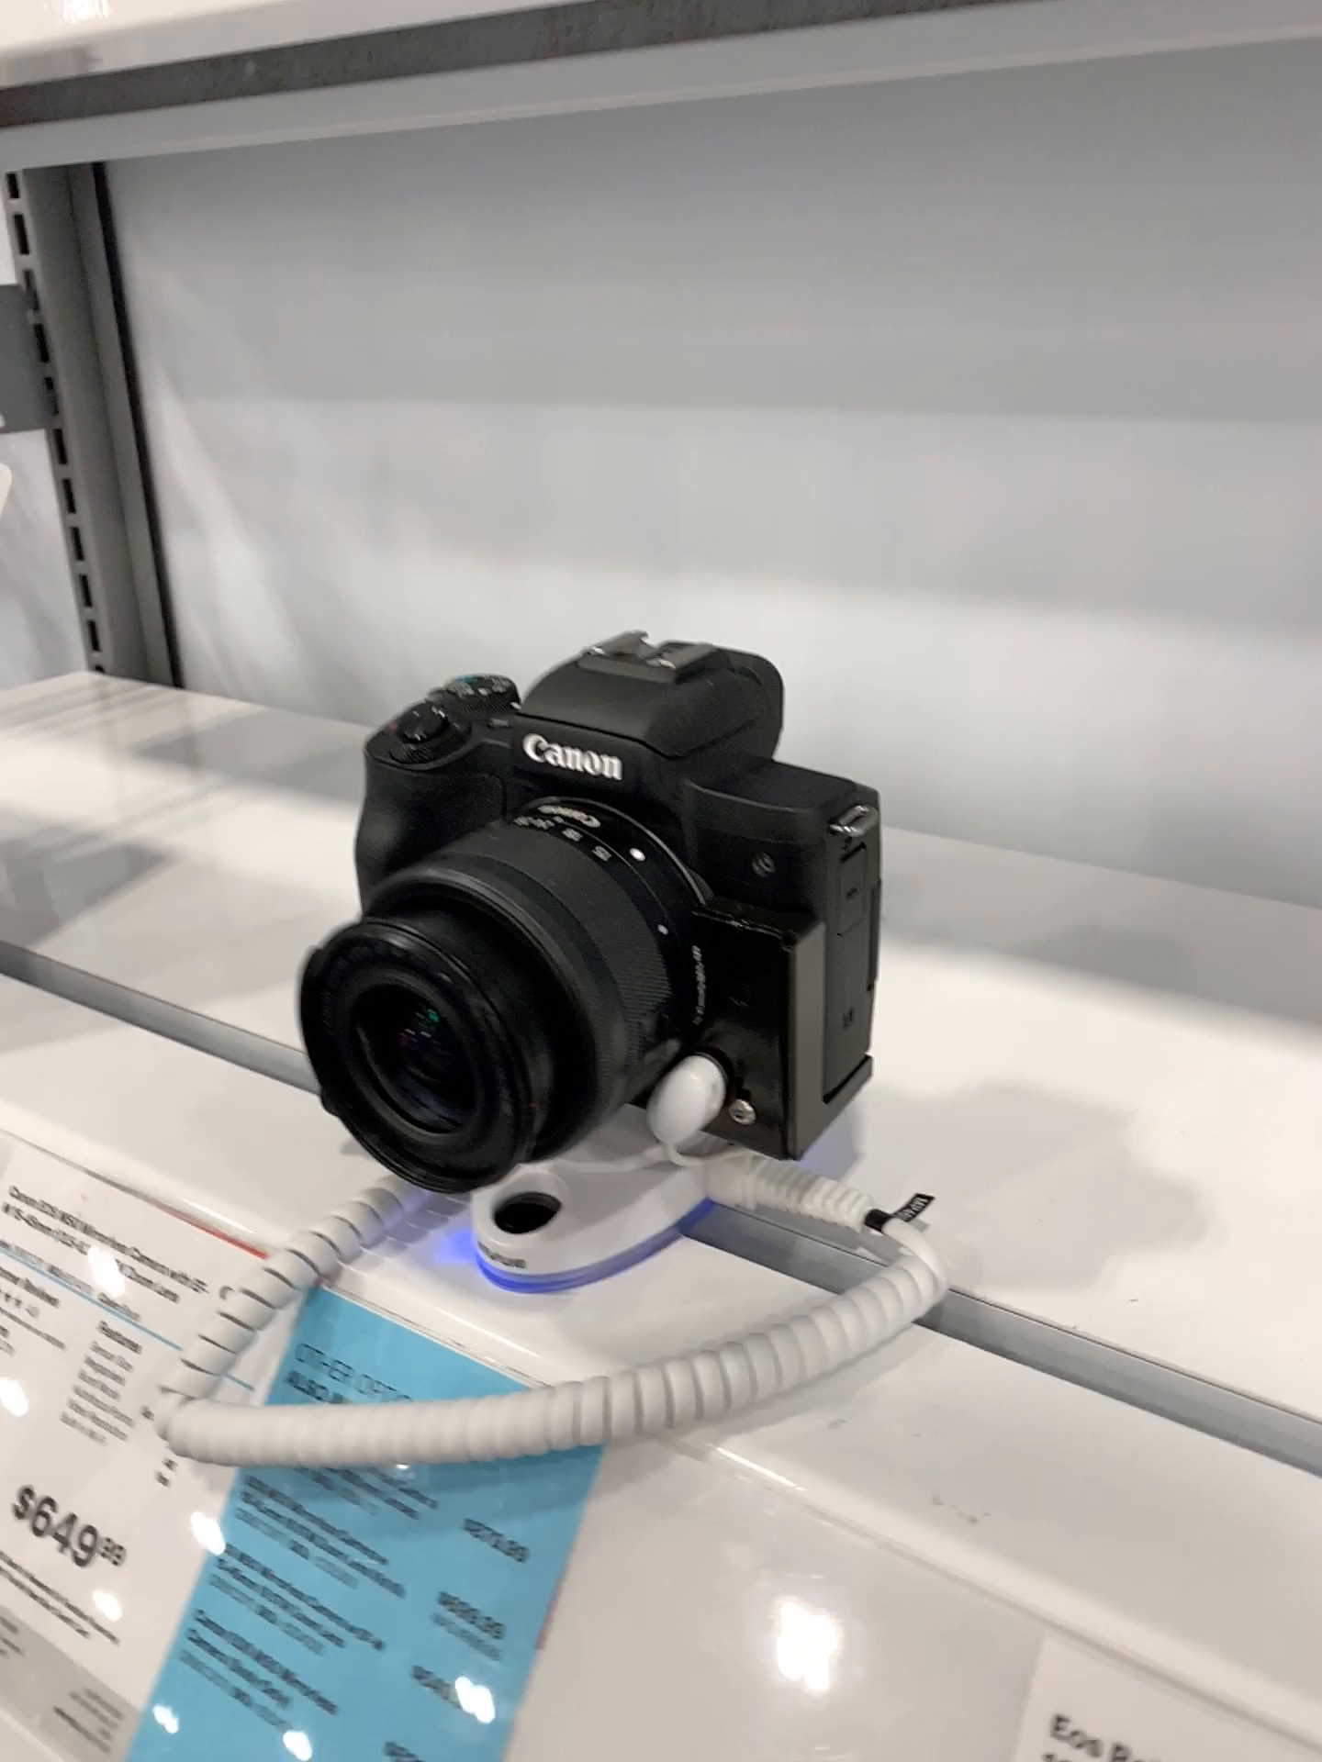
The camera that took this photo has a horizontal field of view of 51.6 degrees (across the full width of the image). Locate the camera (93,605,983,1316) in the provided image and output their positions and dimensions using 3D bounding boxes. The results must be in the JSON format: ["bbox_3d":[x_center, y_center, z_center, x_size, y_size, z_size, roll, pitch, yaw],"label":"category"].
[{"bbox_3d":[-0.020,0.000,0.277,0.130,0.080,0.110,13,27,31],"label":"camera"}]
